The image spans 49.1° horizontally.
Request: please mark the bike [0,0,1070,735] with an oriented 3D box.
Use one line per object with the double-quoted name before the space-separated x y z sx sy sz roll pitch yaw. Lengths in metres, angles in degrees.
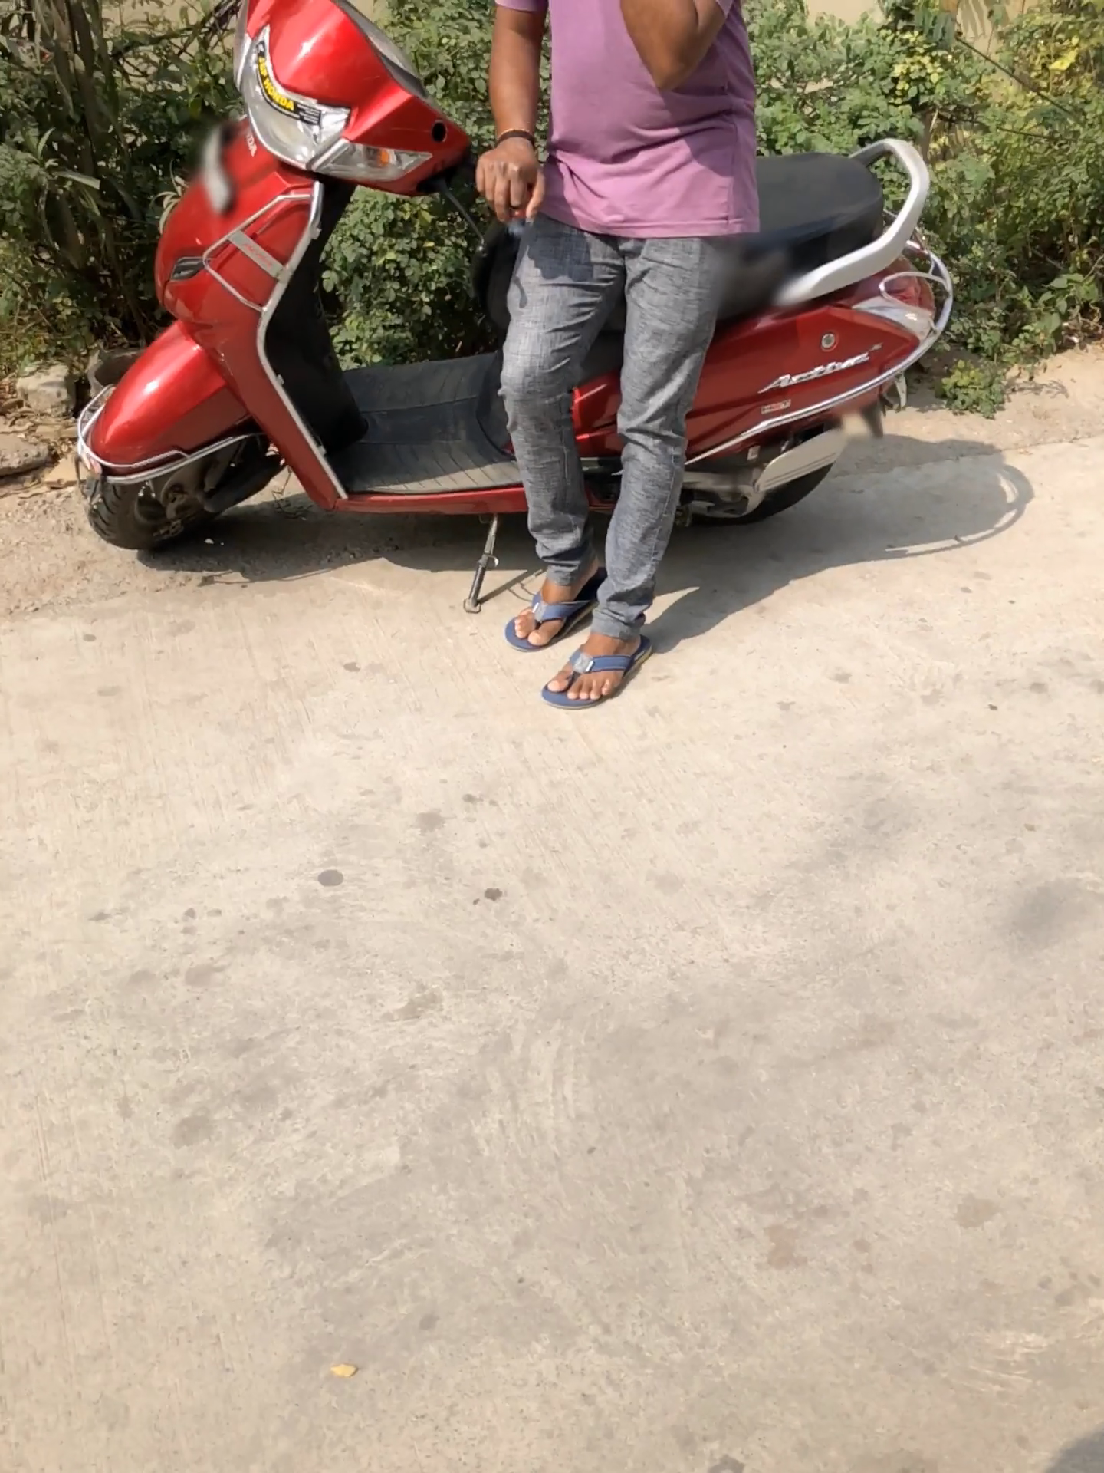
"bike" -0.102 -0.747 2.232 1.584 1.157 0.625 -7 38 -9
